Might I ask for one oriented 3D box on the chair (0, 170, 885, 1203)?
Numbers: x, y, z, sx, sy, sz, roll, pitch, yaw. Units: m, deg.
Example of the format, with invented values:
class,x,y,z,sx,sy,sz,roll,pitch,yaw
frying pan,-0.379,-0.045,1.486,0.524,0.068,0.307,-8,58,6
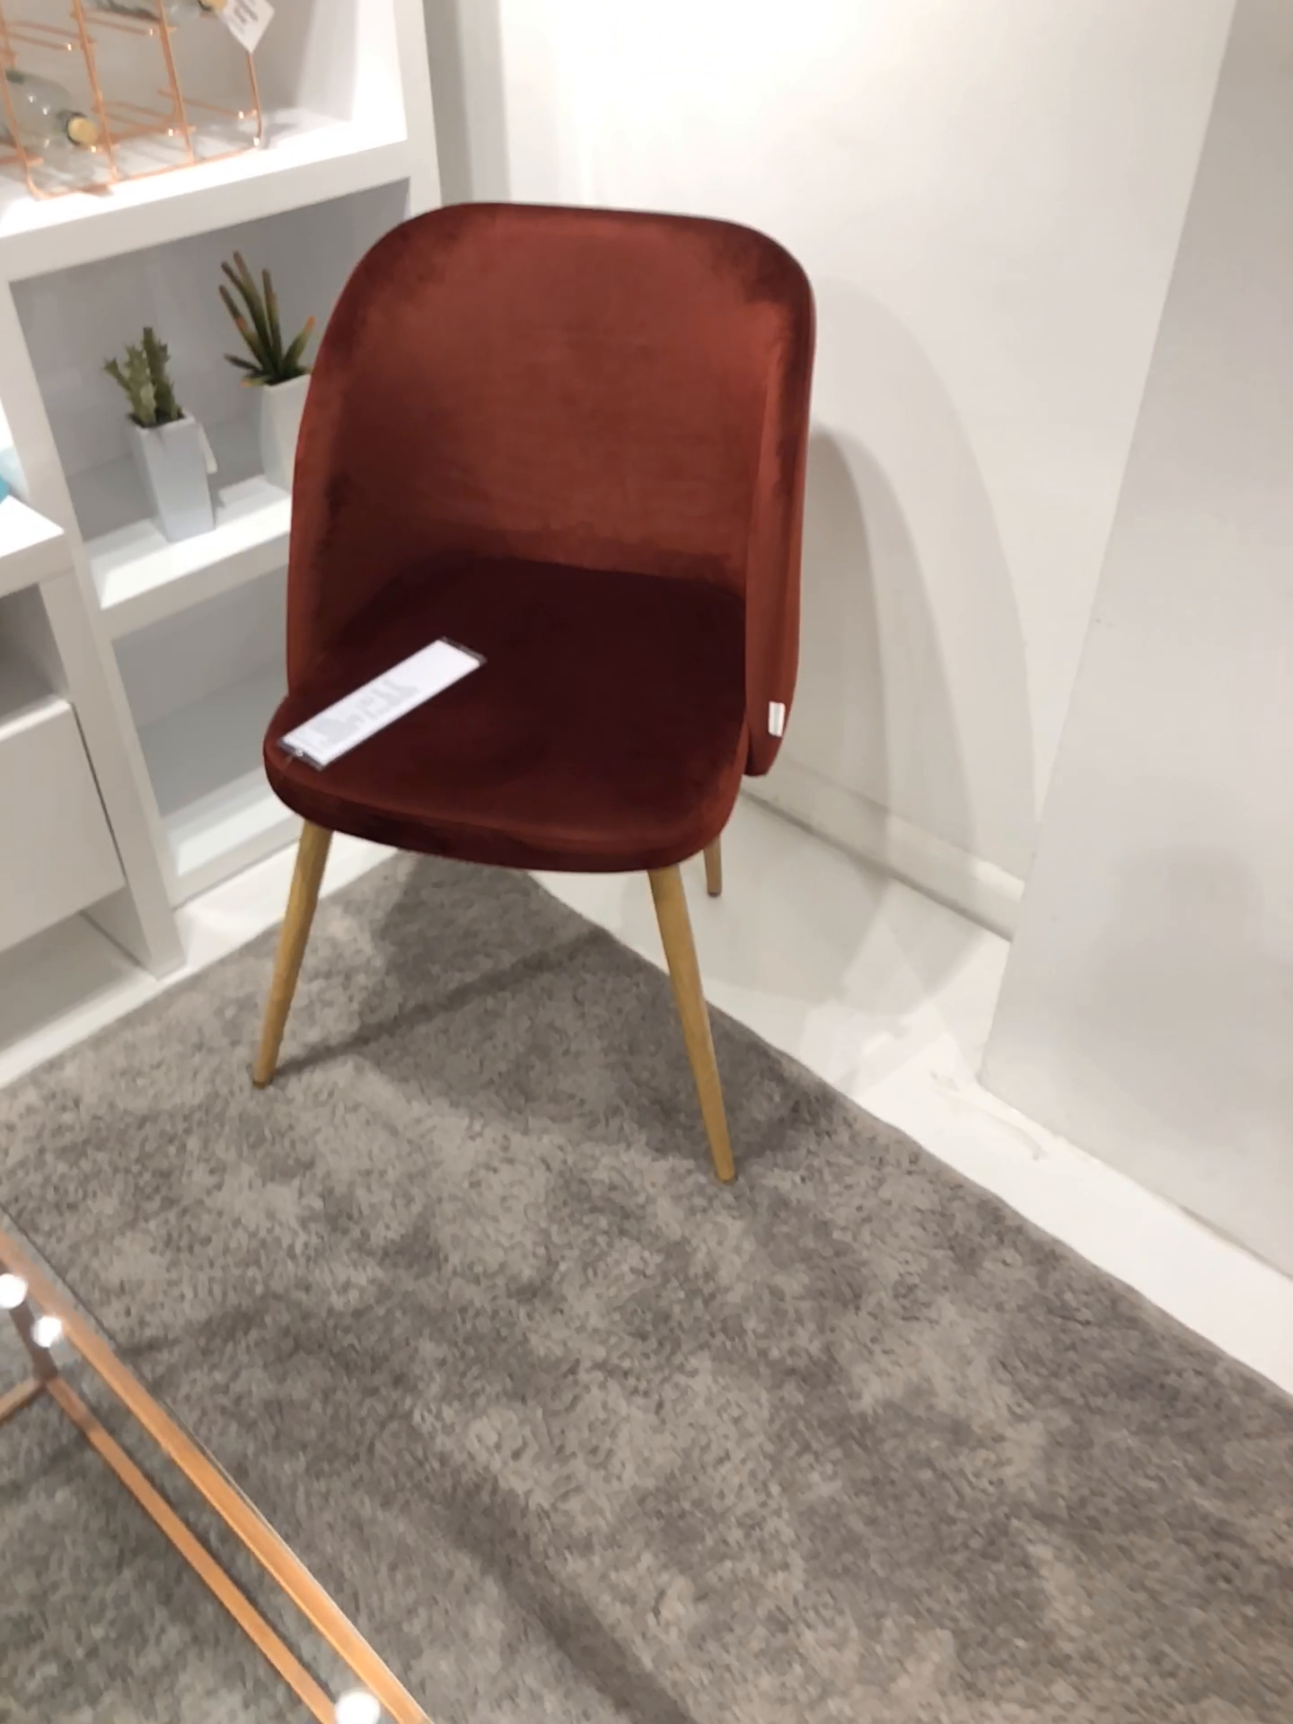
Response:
class,x,y,z,sx,sy,sz,roll,pitch,yaw
chair,-0.110,-0.191,1.422,0.590,0.734,0.655,6,41,7
